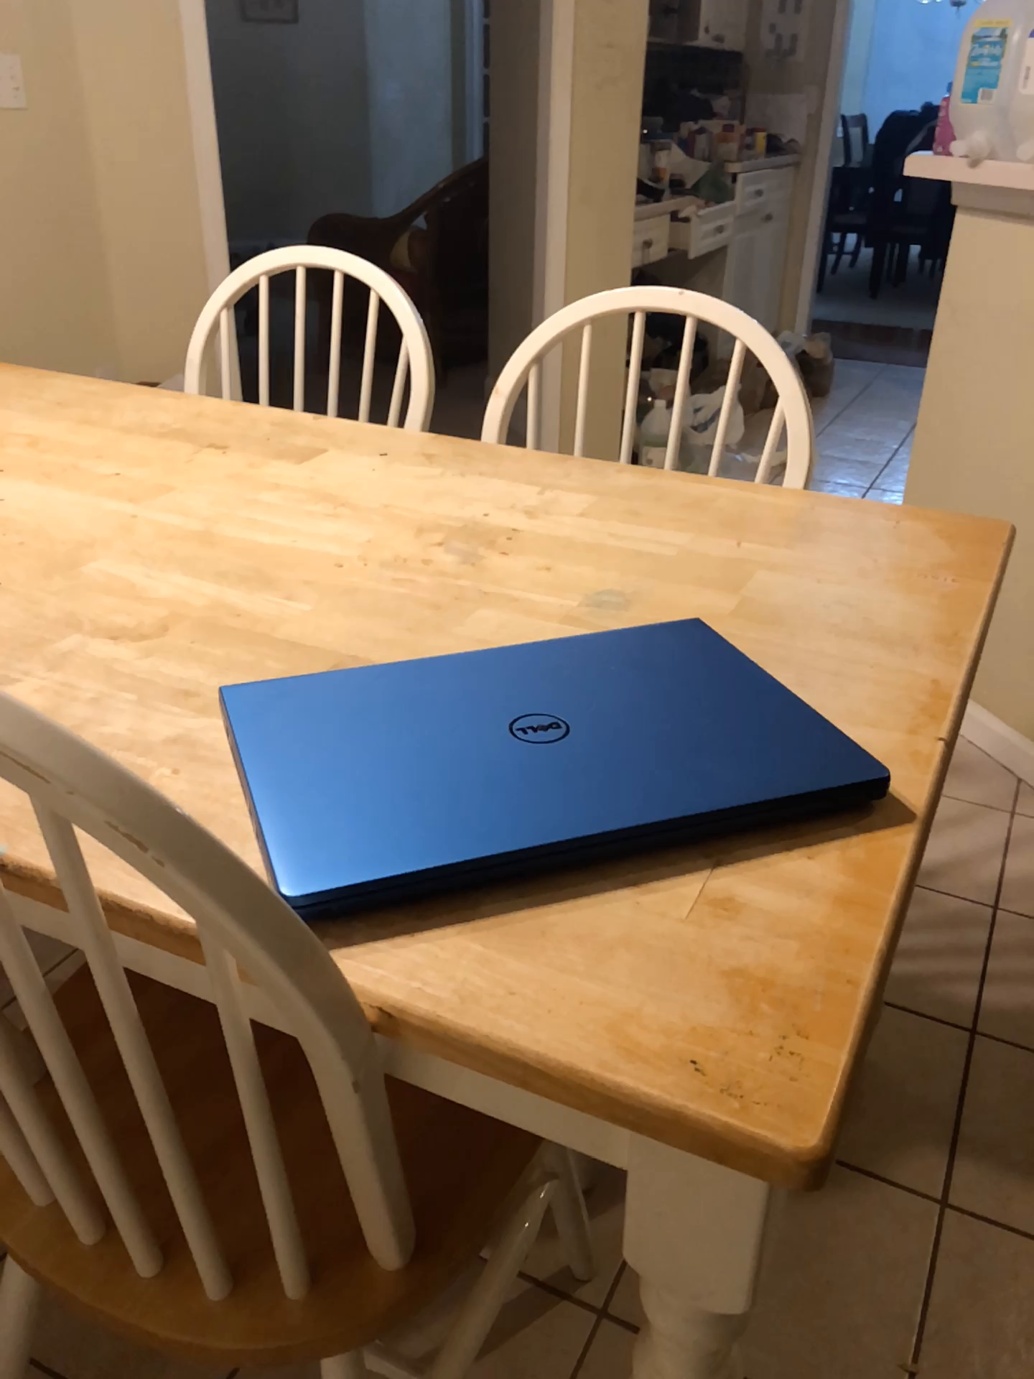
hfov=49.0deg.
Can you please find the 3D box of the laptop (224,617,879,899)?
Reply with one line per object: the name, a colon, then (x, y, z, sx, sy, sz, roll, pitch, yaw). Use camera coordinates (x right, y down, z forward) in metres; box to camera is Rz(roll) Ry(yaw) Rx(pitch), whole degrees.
laptop: (0.011, 0.027, 0.790, 0.388, 0.001, 0.260, -9, 30, -18)
